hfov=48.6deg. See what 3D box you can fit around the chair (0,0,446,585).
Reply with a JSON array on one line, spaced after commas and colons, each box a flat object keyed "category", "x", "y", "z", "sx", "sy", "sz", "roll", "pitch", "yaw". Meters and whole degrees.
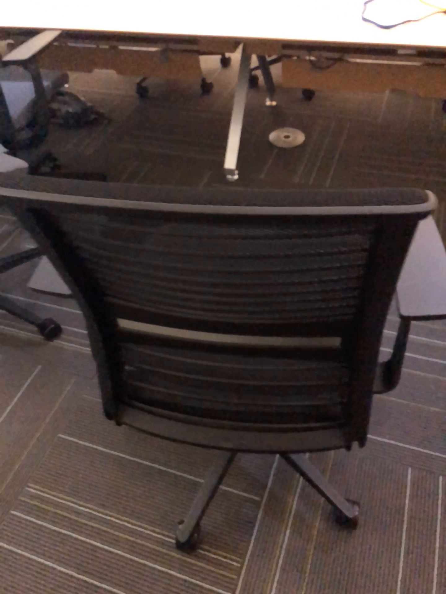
[{"category": "chair", "x": 0.034, "y": -0.004, "z": 0.911, "sx": 0.720, "sy": 0.856, "sz": 0.663, "roll": 2, "pitch": 45, "yaw": 7}]
